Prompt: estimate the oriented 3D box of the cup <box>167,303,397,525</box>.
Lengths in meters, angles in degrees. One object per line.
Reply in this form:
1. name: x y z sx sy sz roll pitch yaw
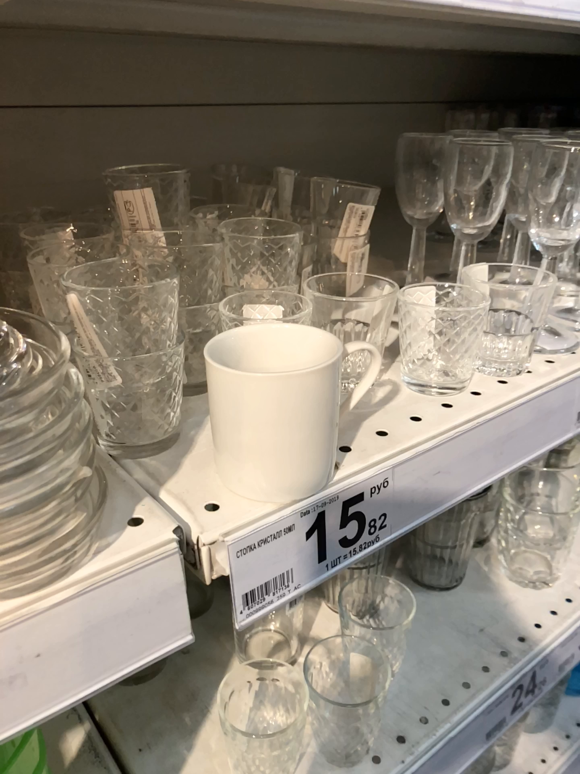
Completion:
1. cup: -0.004 0.007 0.273 0.074 0.060 0.057 -15 30 -31
